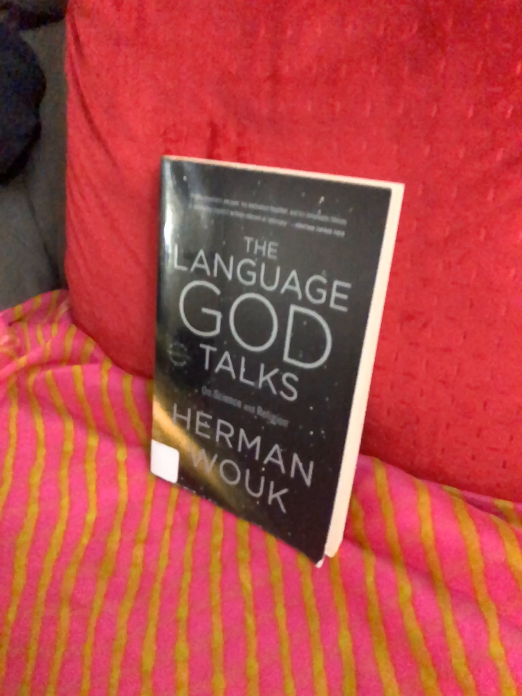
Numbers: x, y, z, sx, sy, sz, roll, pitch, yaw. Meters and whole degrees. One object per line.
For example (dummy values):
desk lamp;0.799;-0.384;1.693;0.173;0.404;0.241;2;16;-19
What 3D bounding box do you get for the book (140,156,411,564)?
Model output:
book;-0.005;0.003;0.322;0.138;0.199;0.030;18;23;29
